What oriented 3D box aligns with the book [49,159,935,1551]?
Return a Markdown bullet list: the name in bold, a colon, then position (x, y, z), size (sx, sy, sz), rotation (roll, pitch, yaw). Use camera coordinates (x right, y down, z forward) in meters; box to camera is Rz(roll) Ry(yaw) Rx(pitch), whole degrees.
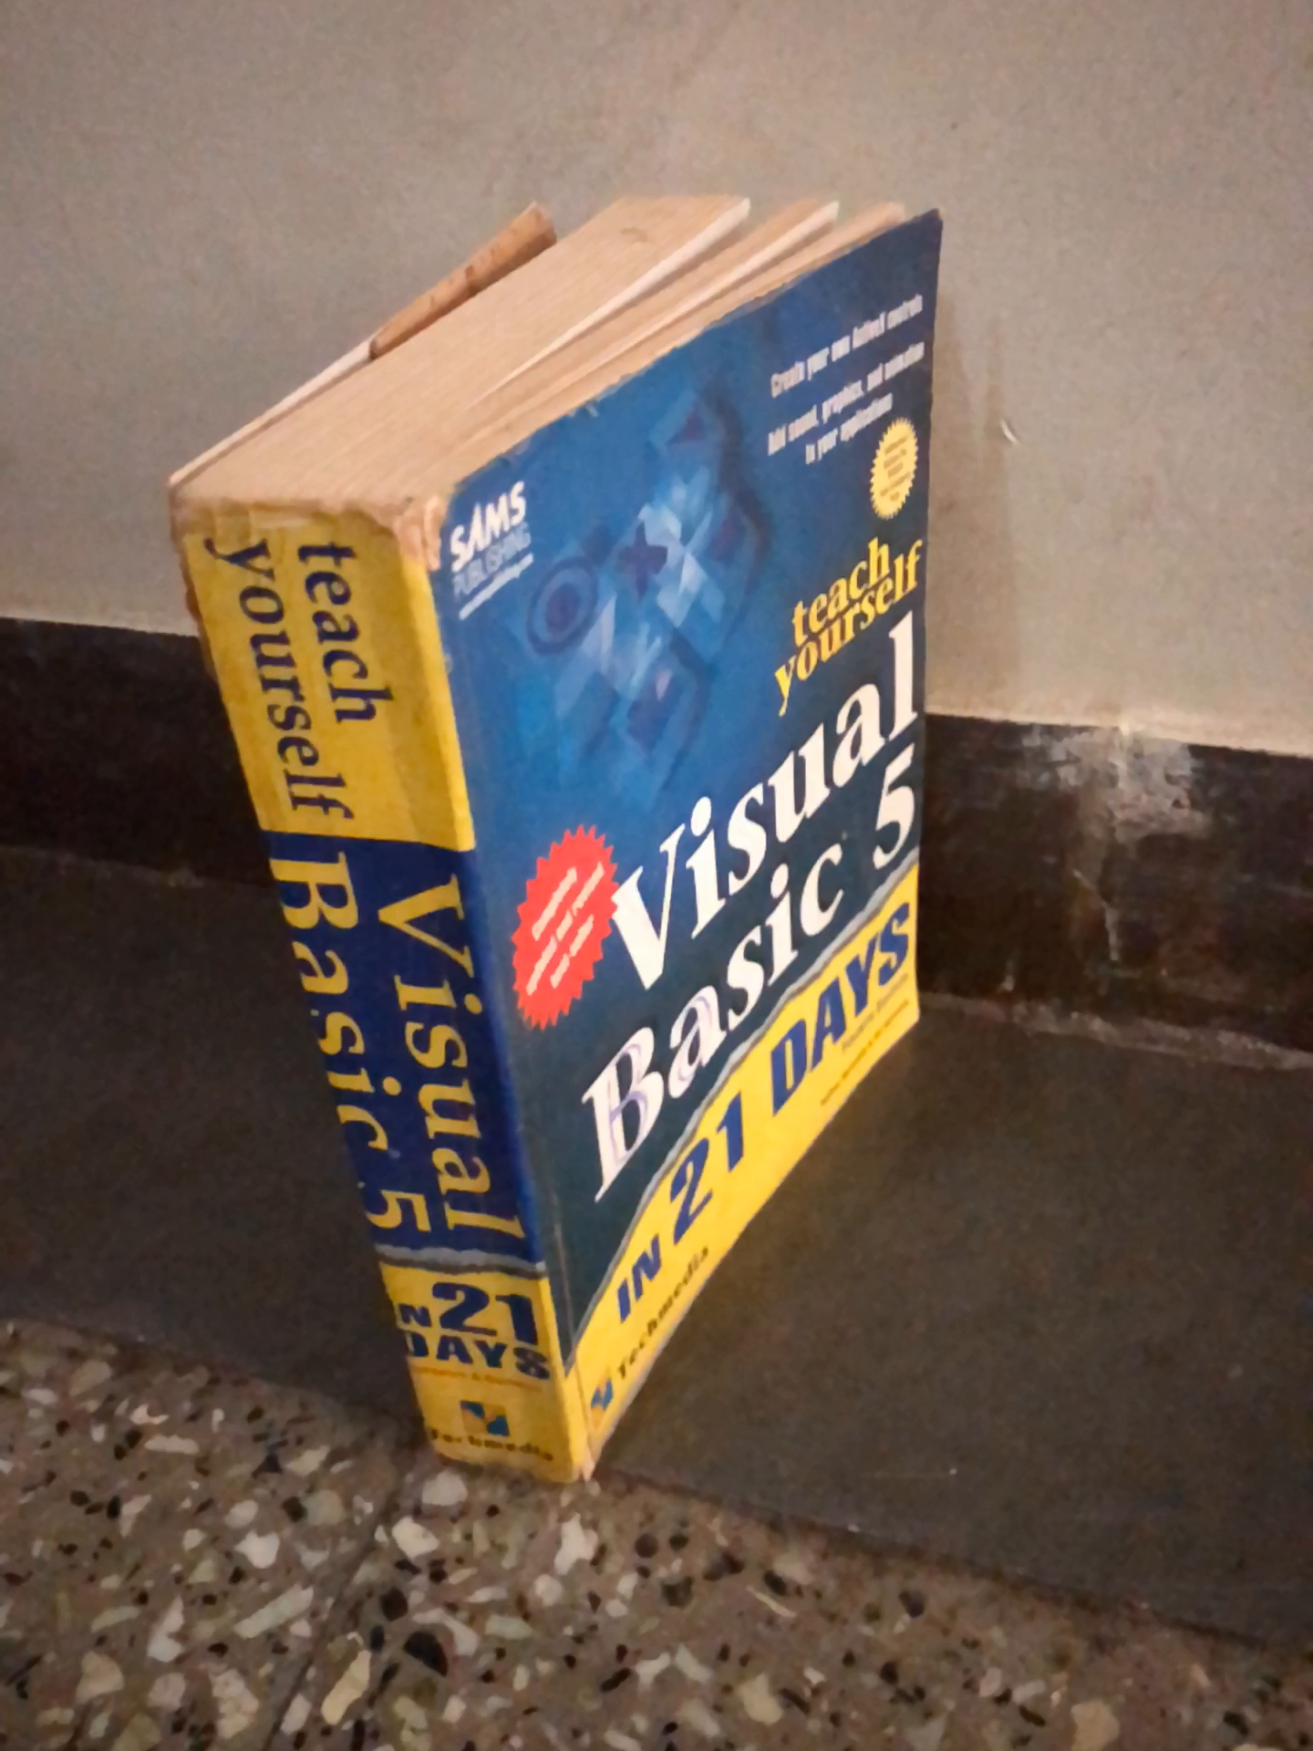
- **book**: position (0.003, -0.023, 0.355), size (0.060, 0.229, 0.251), rotation (8, 37, 23)
